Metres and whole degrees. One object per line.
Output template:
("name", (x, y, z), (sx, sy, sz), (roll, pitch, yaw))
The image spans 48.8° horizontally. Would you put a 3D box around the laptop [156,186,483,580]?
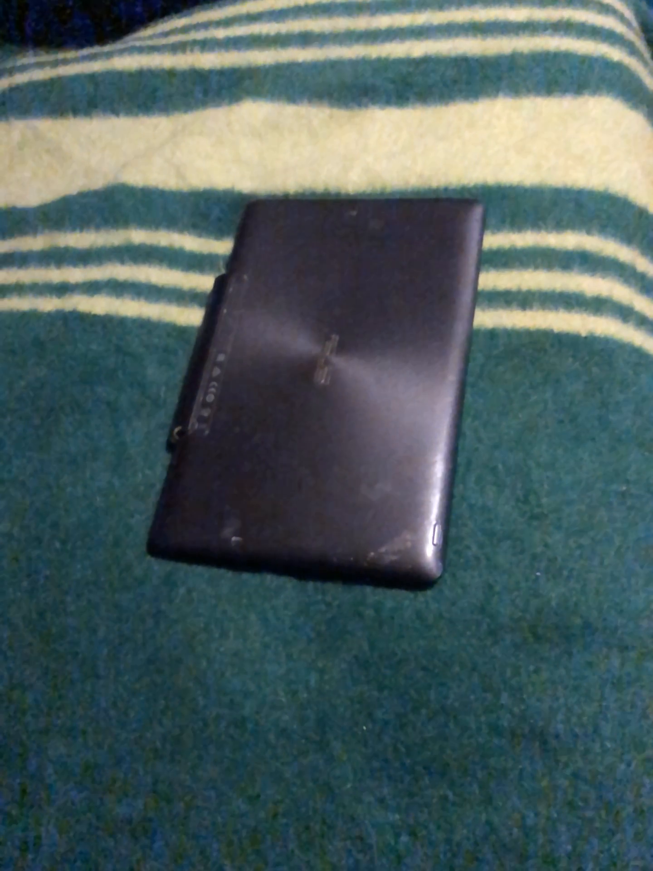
("laptop", (0.004, -0.052, 0.456), (0.167, 0.017, 0.263), (4, 65, 14))
